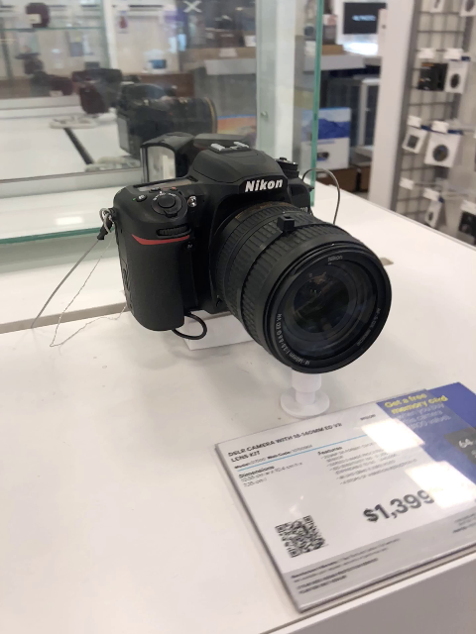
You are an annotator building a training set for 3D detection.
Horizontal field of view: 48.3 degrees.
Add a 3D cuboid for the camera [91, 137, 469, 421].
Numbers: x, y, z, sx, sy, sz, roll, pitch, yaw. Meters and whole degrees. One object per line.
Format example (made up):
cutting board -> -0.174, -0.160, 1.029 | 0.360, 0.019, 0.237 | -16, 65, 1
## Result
camera -> 0.012, -0.045, 0.337 | 0.160, 0.100, 0.171 | -13, 29, -22
